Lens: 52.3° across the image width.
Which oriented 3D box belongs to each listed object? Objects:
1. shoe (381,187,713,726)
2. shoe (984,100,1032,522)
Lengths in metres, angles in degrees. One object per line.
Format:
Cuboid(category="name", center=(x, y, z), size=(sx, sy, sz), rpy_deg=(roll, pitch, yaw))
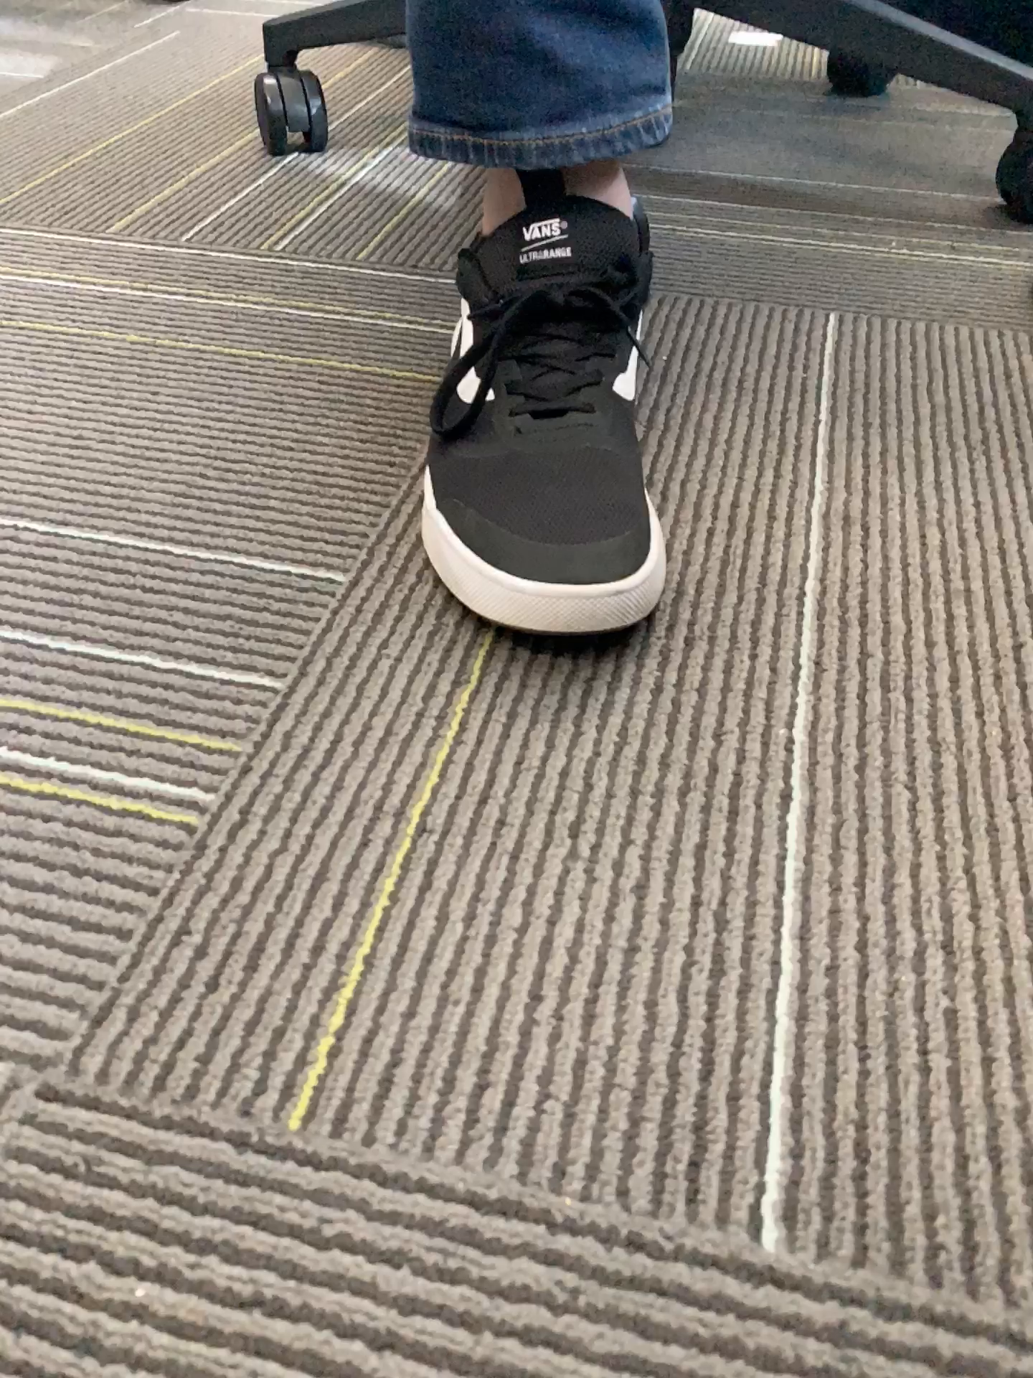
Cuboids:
Cuboid(category="shoe", center=(0.007, -0.138, 0.538), size=(0.120, 0.119, 0.322), rpy_deg=(0, 44, -1))
Cuboid(category="shoe", center=(0.467, -0.241, 0.624), size=(0.120, 0.109, 0.321), rpy_deg=(-25, 50, -25))
